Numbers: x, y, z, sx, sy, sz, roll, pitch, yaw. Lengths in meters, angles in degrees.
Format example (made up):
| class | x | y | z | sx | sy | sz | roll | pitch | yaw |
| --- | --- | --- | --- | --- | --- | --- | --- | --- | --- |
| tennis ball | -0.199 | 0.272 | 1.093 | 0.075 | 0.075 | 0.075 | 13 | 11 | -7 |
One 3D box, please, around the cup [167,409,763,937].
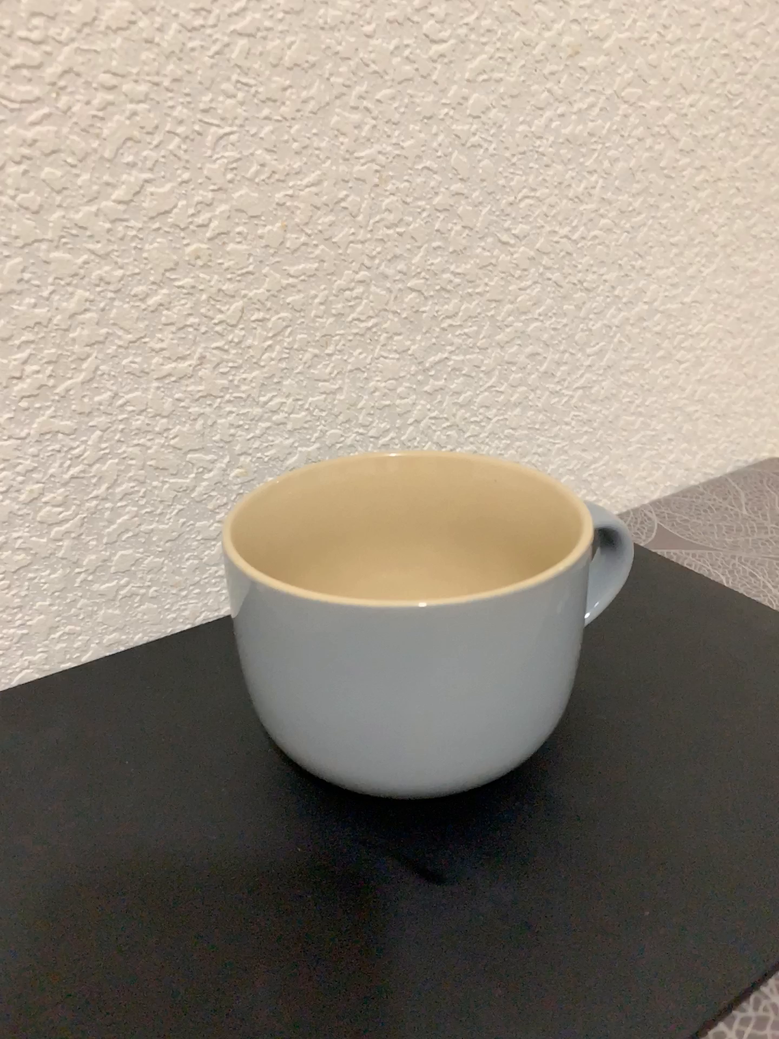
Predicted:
| class | x | y | z | sx | sy | sz | roll | pitch | yaw |
| --- | --- | --- | --- | --- | --- | --- | --- | --- | --- |
| cup | 0.016 | 0.029 | 0.248 | 0.133 | 0.079 | 0.111 | -14 | 27 | -23 |
